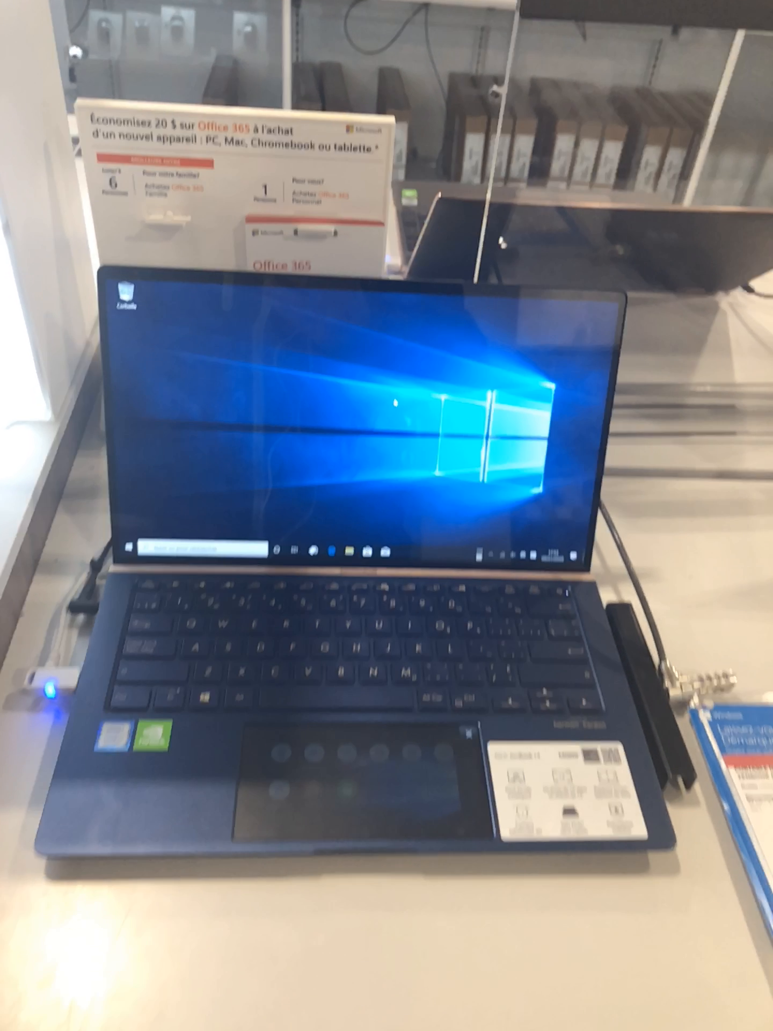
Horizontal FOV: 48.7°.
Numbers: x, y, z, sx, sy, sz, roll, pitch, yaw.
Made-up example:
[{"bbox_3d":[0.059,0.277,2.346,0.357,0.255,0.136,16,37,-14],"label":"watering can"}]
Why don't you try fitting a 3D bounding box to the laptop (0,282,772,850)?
[{"bbox_3d":[-0.010,0.017,0.457,0.308,0.179,0.254,1,39,-5],"label":"laptop"}]
